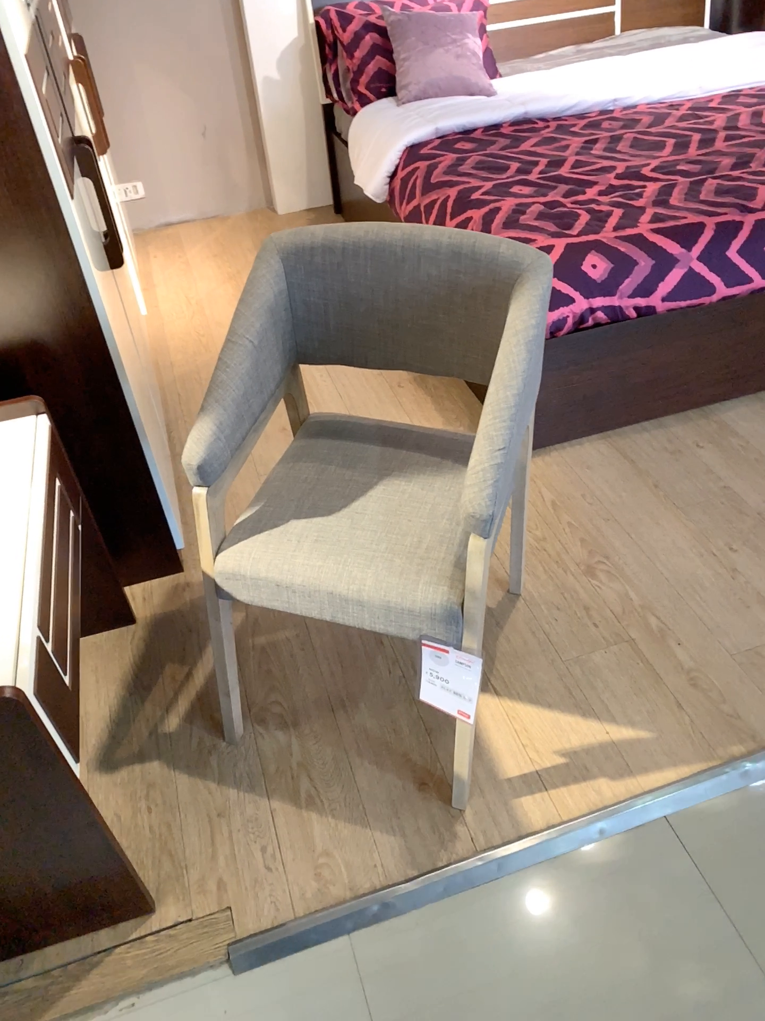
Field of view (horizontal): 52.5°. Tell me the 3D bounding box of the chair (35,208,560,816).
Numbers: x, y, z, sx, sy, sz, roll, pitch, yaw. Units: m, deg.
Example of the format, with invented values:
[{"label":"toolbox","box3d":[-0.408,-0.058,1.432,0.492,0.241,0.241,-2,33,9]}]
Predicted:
[{"label":"chair","box3d":[-0.046,-0.007,1.353,0.560,0.797,0.582,9,43,17]}]
